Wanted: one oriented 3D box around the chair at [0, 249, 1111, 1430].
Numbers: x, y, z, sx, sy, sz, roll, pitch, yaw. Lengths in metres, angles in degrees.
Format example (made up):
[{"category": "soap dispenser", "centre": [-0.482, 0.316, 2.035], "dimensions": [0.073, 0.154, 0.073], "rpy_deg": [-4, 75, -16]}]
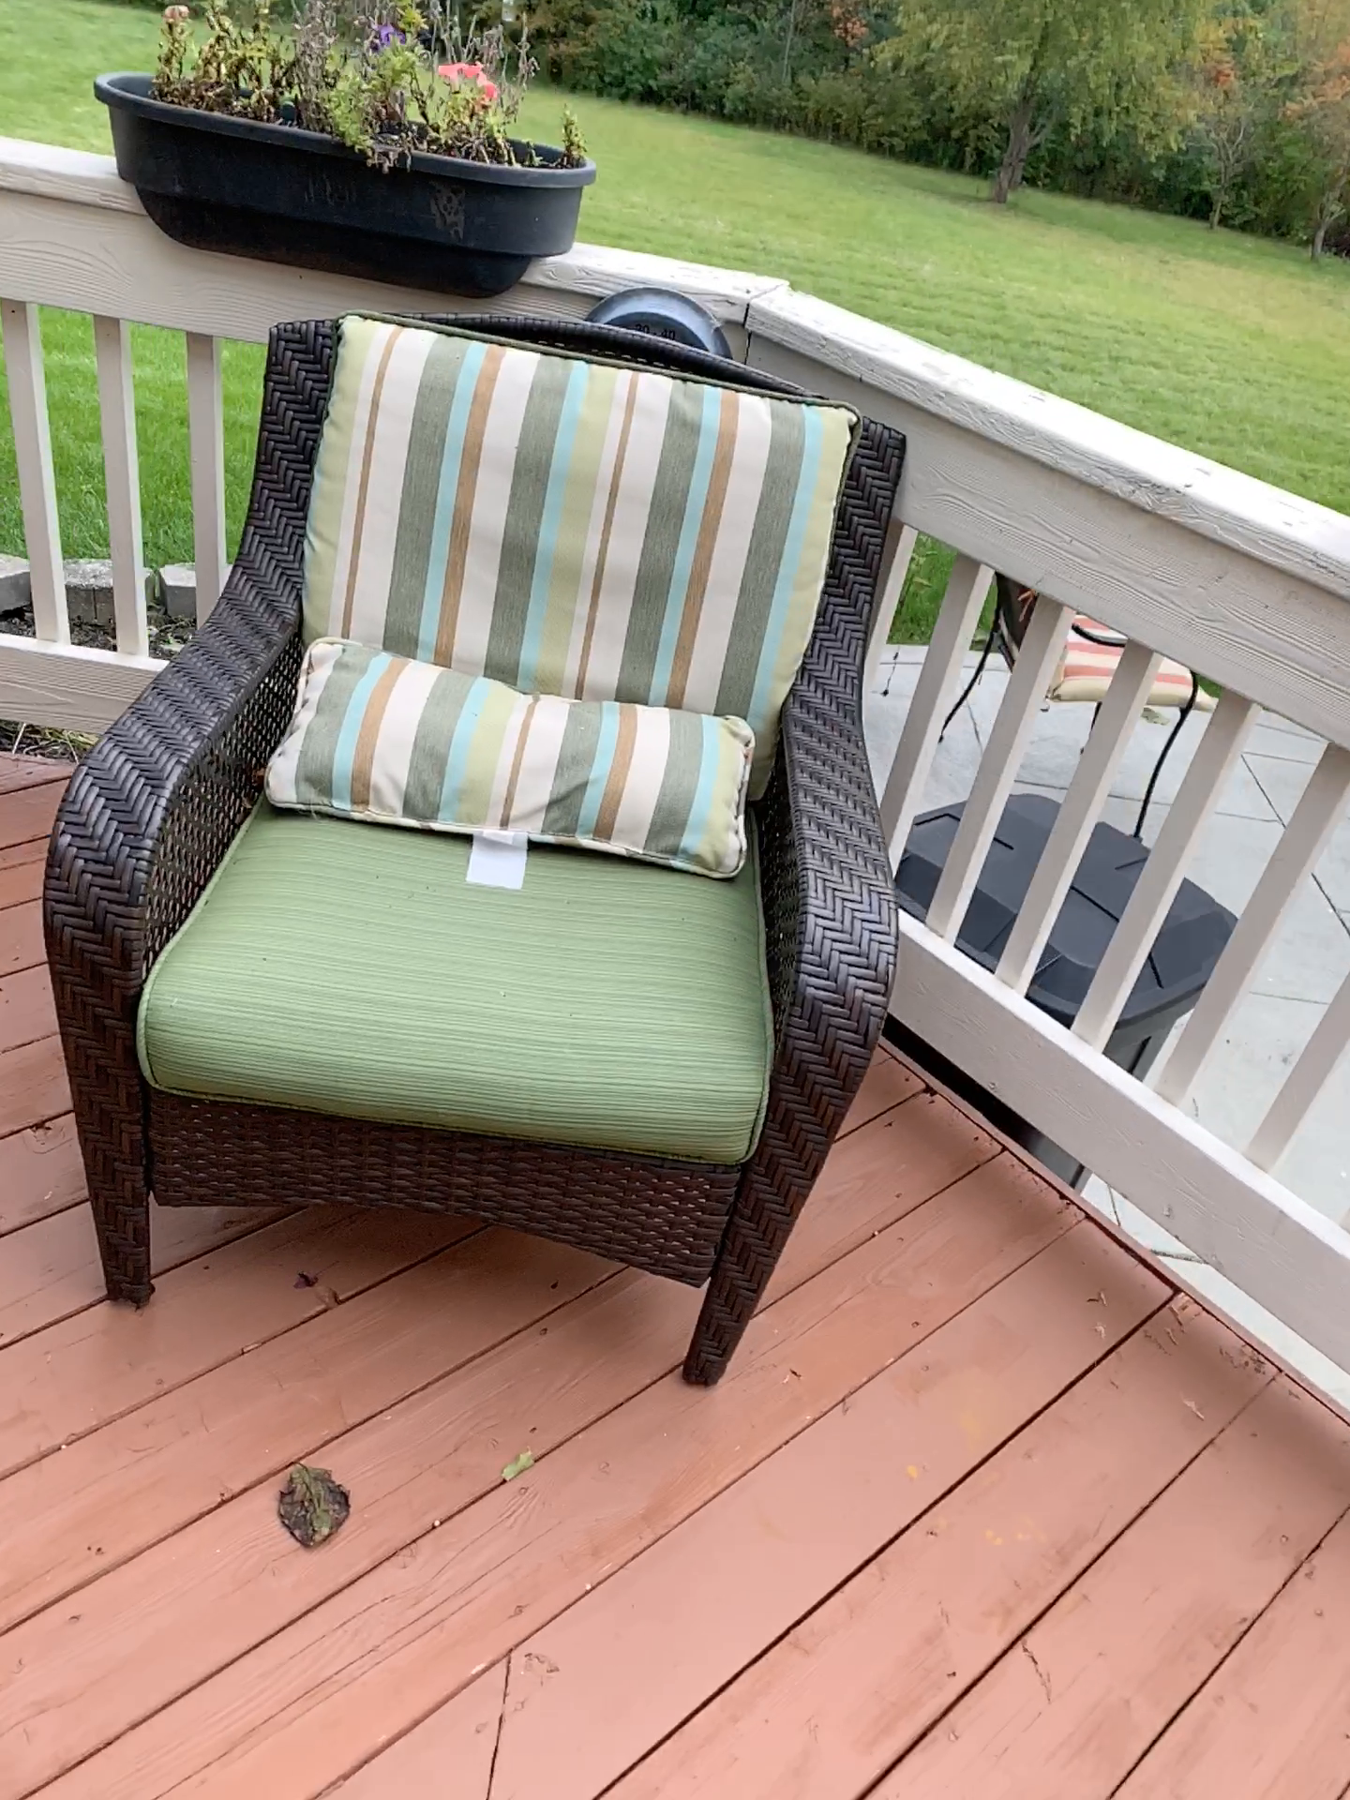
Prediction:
[{"category": "chair", "centre": [-0.153, -0.112, 1.480], "dimensions": [0.810, 0.824, 0.865], "rpy_deg": [9, 34, -3]}]
